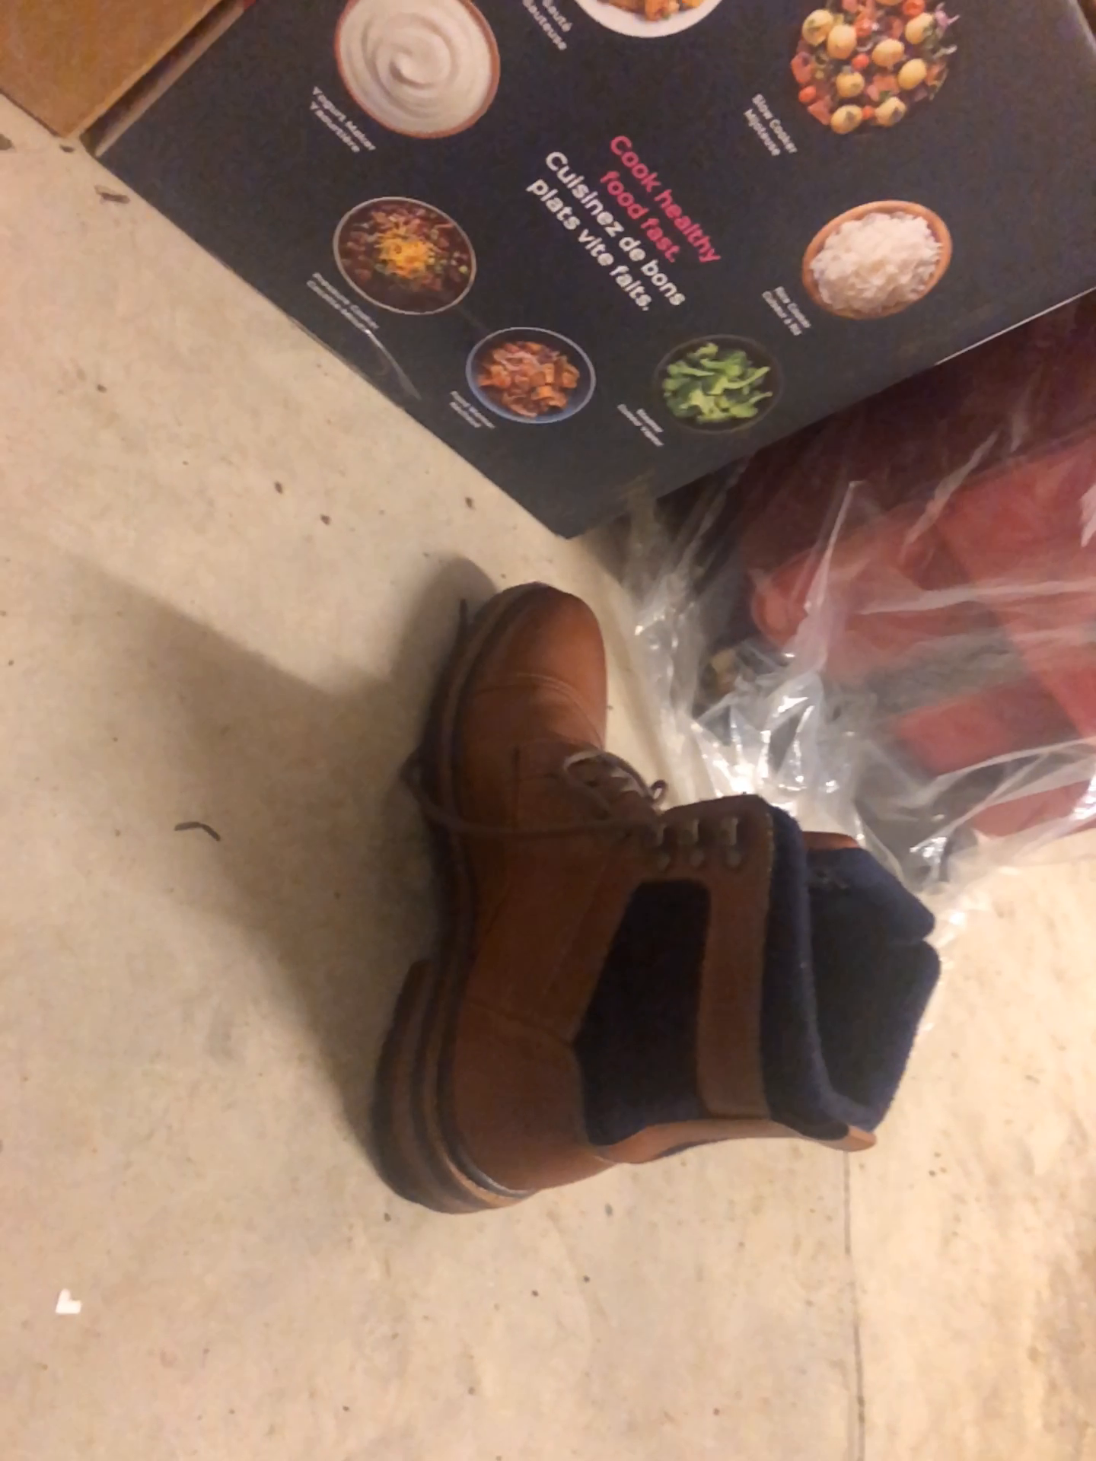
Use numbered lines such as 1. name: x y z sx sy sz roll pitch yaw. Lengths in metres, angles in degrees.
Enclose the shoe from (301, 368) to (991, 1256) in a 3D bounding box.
1. shoe: 0.043 0.041 0.500 0.132 0.201 0.303 36 48 -40
